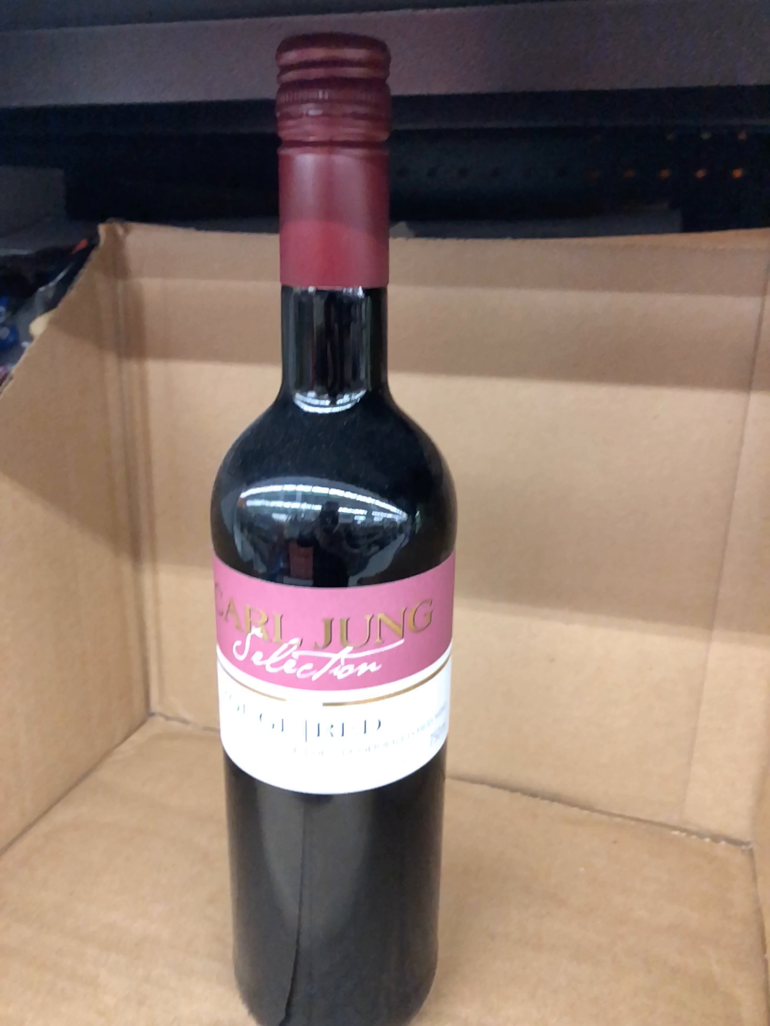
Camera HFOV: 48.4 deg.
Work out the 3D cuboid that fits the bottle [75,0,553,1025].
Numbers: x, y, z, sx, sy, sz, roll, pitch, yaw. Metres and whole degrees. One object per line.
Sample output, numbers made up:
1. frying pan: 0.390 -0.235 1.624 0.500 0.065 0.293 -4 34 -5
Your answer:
1. bottle: -0.013 0.024 0.262 0.090 0.308 0.080 8 21 21
